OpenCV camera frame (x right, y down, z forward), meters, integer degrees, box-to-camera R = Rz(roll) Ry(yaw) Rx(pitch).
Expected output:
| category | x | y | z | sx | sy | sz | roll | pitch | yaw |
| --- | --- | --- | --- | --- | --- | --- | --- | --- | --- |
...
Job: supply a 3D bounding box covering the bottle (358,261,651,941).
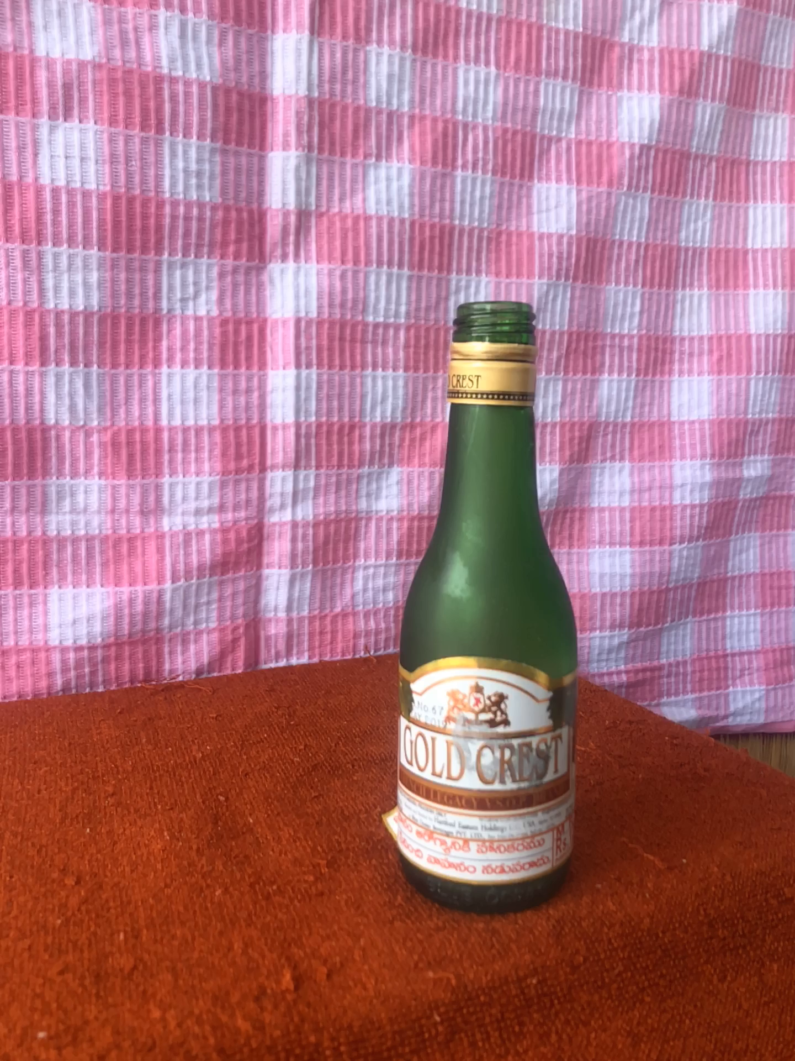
| category | x | y | z | sx | sy | sz | roll | pitch | yaw |
| --- | --- | --- | --- | --- | --- | --- | --- | --- | --- |
| bottle | 0.032 | 0.016 | 0.252 | 0.060 | 0.170 | 0.060 | 4 | 10 | -1 |
